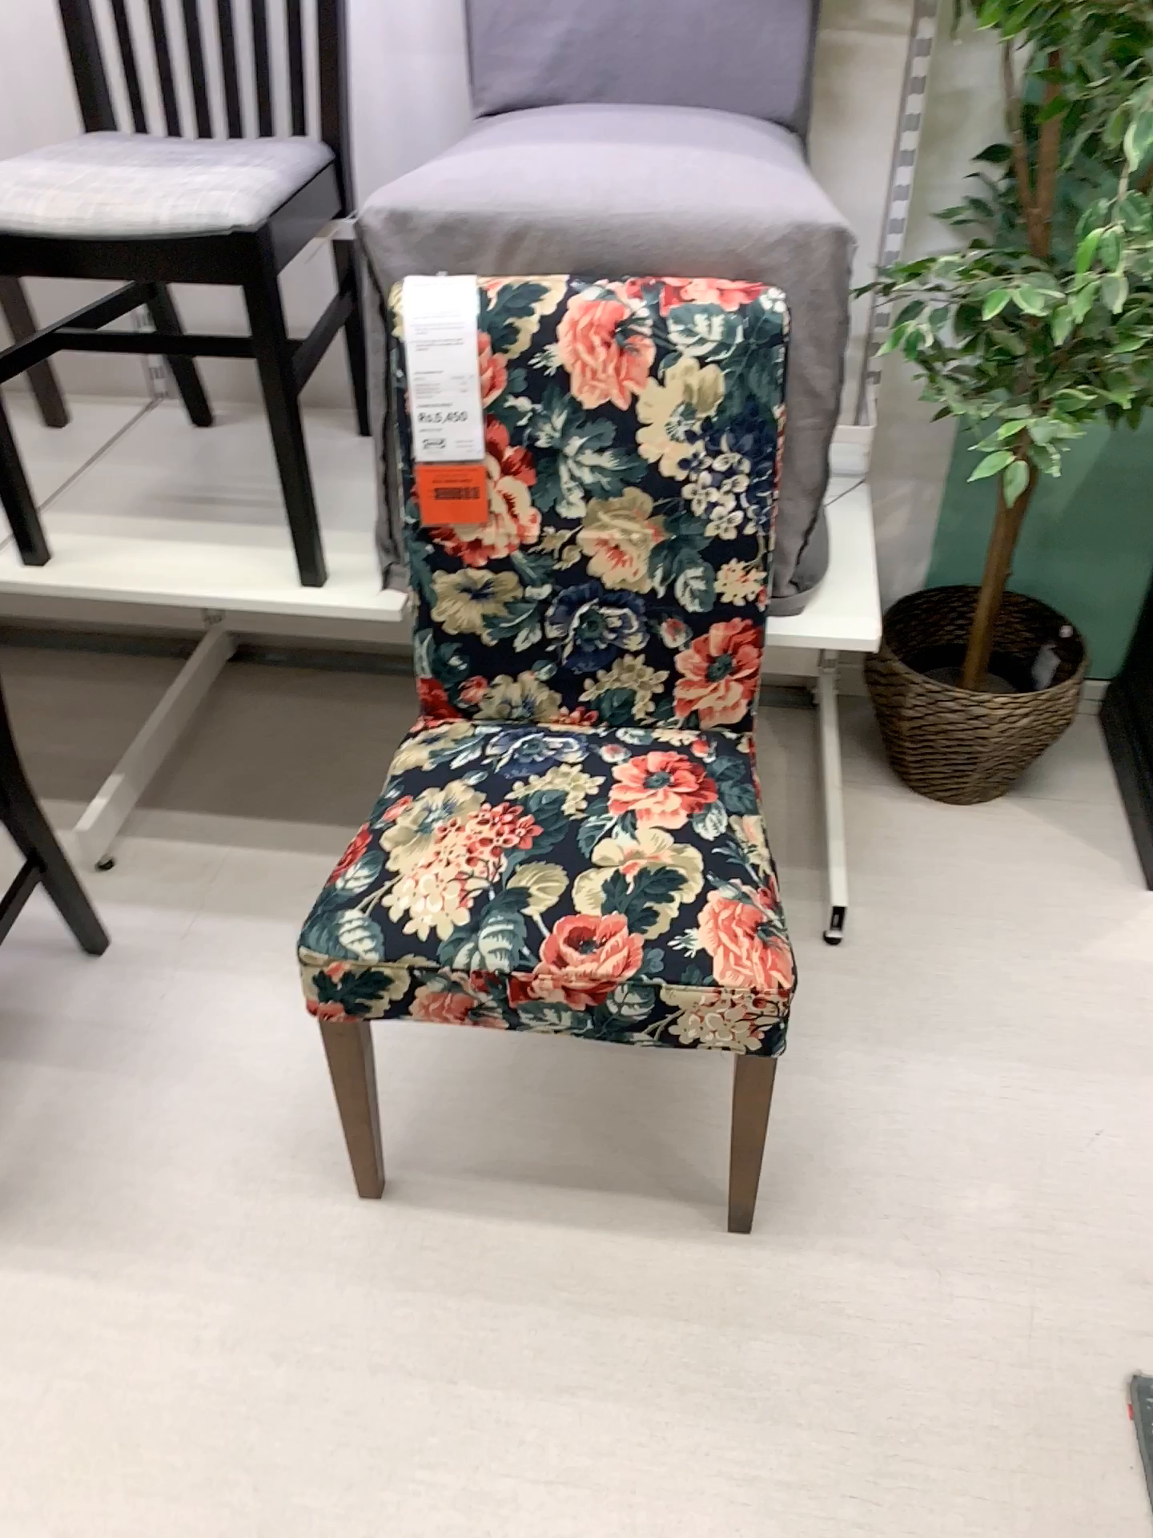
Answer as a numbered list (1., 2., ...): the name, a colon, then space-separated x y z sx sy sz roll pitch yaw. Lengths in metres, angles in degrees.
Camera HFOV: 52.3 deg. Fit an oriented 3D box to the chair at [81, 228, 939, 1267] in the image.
1. chair: -0.004 -0.015 1.262 0.560 0.886 0.602 5 40 7
